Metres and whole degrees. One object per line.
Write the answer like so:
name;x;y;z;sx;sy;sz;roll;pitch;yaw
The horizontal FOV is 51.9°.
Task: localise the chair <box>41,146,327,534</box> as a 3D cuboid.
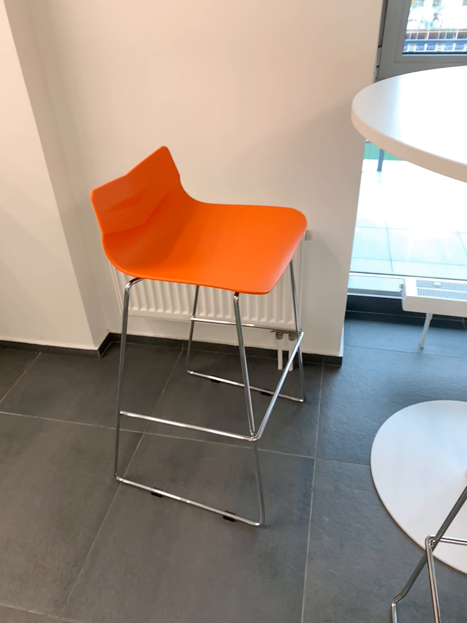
chair;-0.065;0.069;1.419;0.500;0.905;0.573;10;36;17
